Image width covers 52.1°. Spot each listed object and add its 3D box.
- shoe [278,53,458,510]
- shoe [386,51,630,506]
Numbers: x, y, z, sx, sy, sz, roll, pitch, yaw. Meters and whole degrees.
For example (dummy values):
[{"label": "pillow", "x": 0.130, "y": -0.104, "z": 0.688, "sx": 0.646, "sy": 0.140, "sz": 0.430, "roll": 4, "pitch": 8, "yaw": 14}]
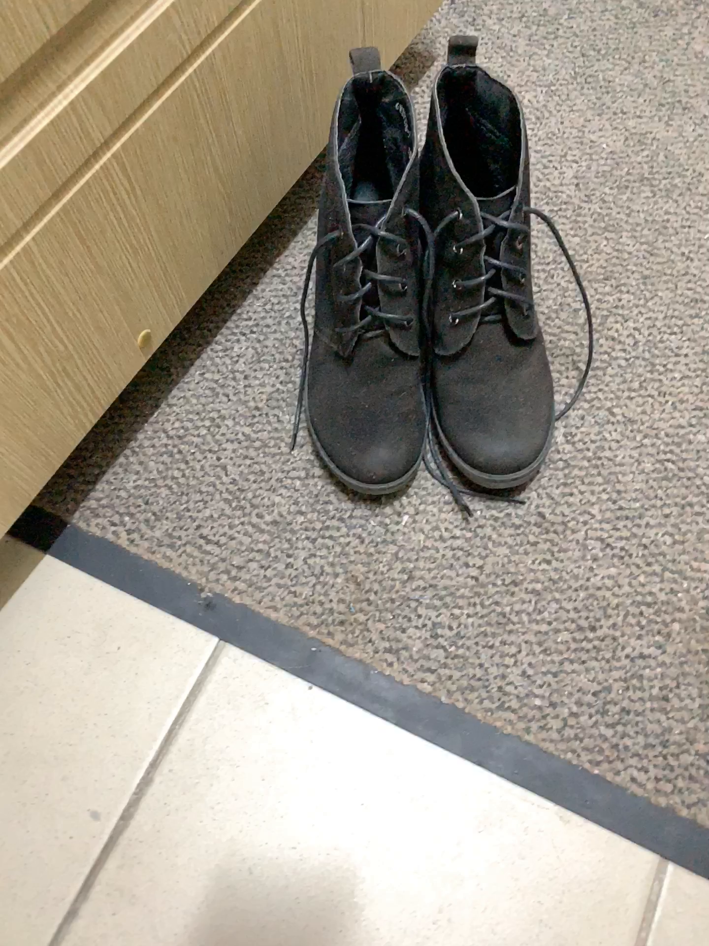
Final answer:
[{"label": "shoe", "x": 0.005, "y": -0.114, "z": 0.468, "sx": 0.080, "sy": 0.160, "sz": 0.230, "roll": -5, "pitch": 67, "yaw": 0}, {"label": "shoe", "x": 0.081, "y": -0.119, "z": 0.476, "sx": 0.080, "sy": 0.160, "sz": 0.230, "roll": -9, "pitch": 67, "yaw": -2}]
